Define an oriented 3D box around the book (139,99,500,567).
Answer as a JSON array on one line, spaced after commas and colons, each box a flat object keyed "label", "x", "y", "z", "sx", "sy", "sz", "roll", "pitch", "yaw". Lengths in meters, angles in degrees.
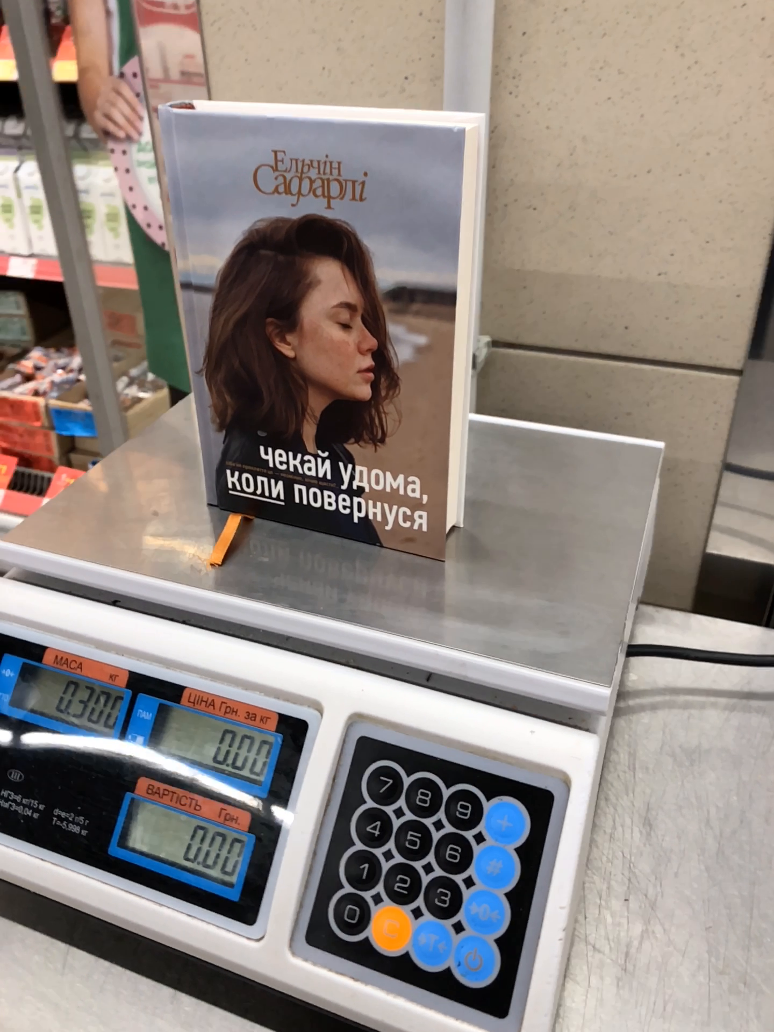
[{"label": "book", "x": -0.027, "y": -0.078, "z": 0.377, "sx": 0.137, "sy": 0.186, "sz": 0.037, "roll": 11, "pitch": 32, "yaw": 18}]
